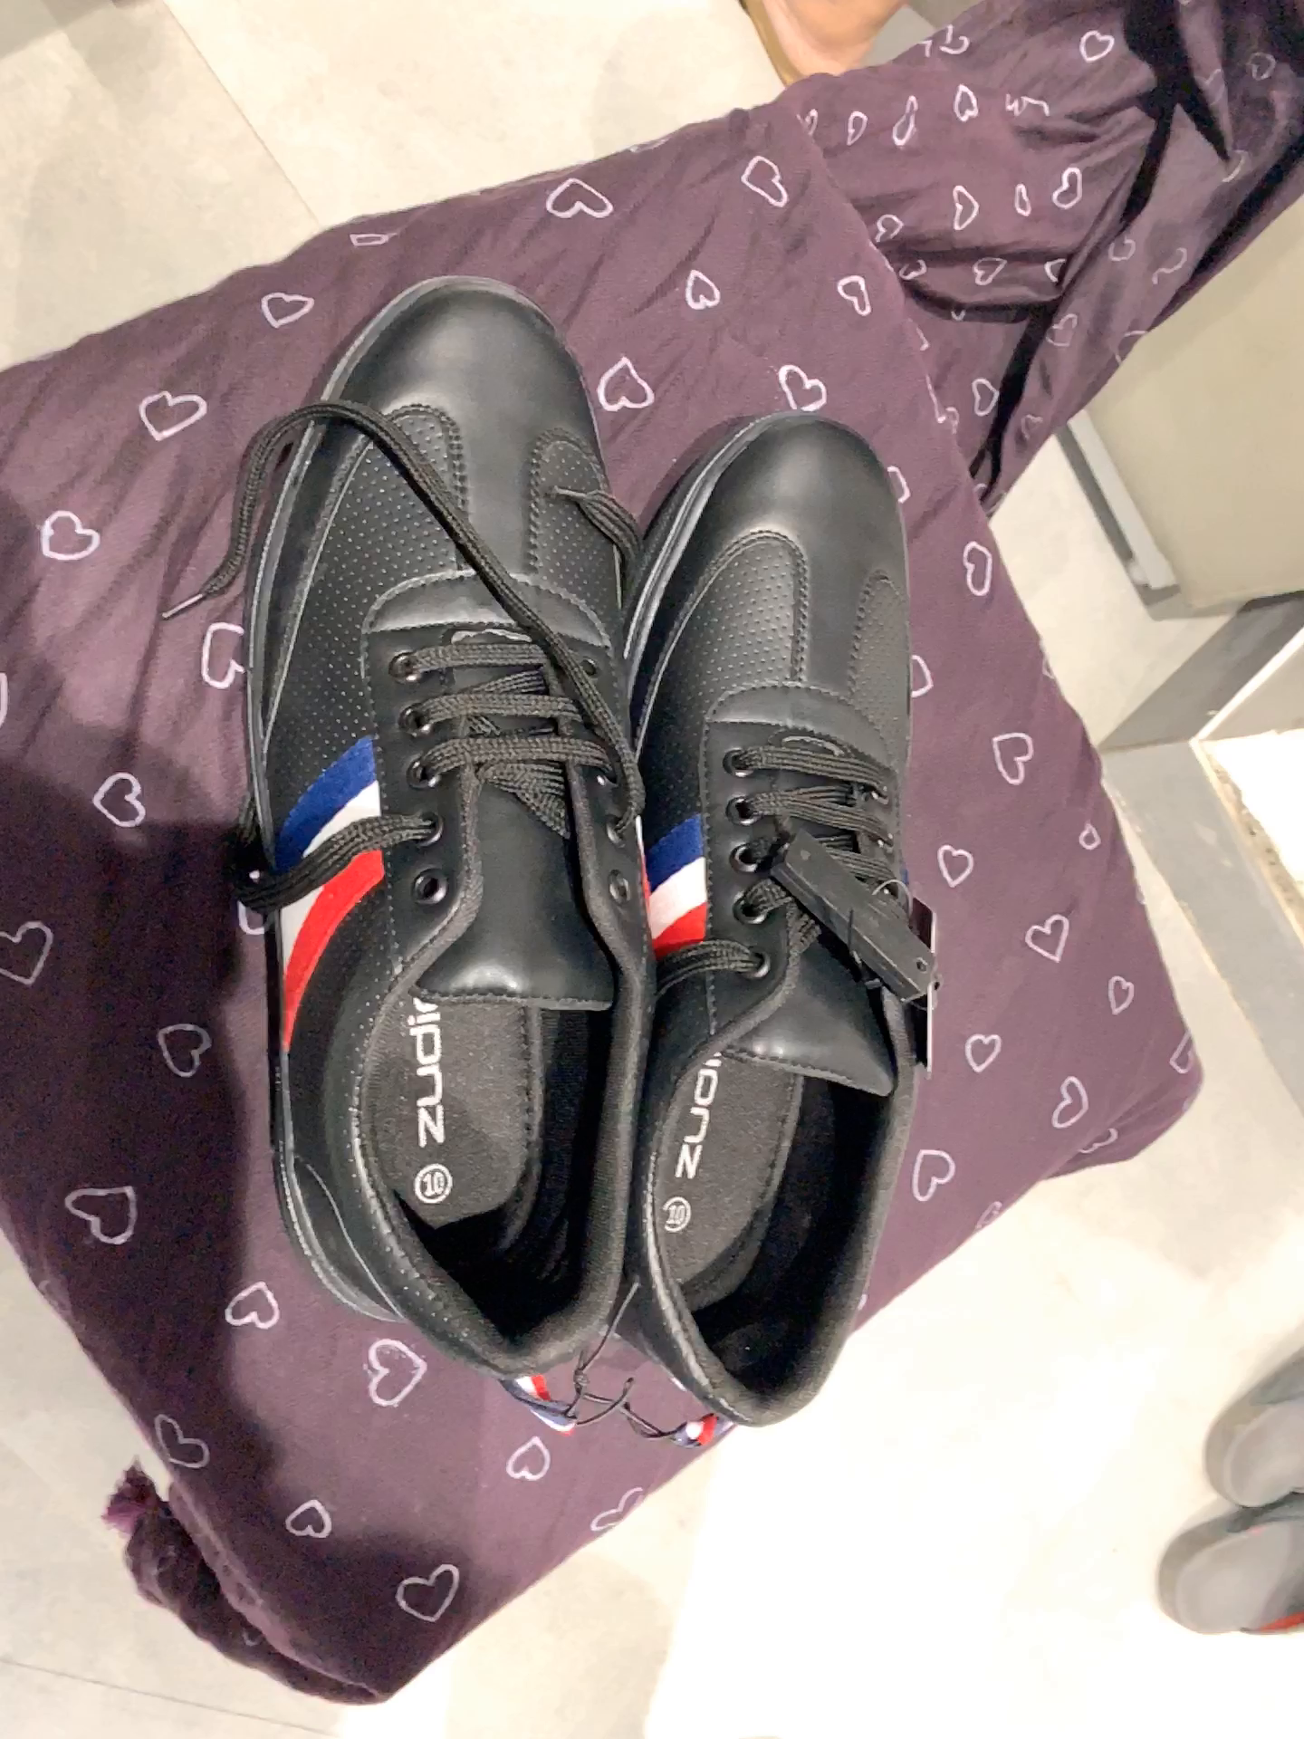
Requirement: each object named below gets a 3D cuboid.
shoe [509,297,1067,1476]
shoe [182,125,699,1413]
[{"bbox_3d":[0.039,0.008,0.396,0.110,0.080,0.300,8,86,-24],"label":"shoe"},{"bbox_3d":[-0.064,-0.023,0.386,0.120,0.090,0.310,2,89,-24],"label":"shoe"}]
